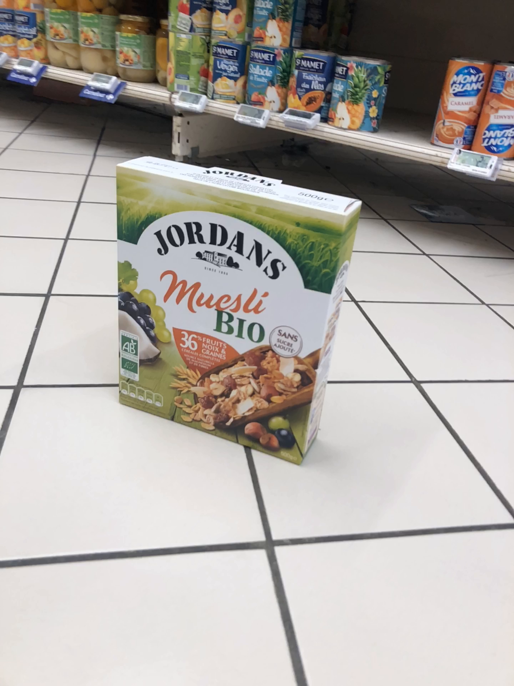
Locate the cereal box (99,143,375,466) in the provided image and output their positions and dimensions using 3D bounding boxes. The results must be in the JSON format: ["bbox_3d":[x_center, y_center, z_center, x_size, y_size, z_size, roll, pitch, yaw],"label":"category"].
[{"bbox_3d":[-0.026,-0.032,0.451,0.190,0.209,0.060,16,29,16],"label":"cereal box"}]
